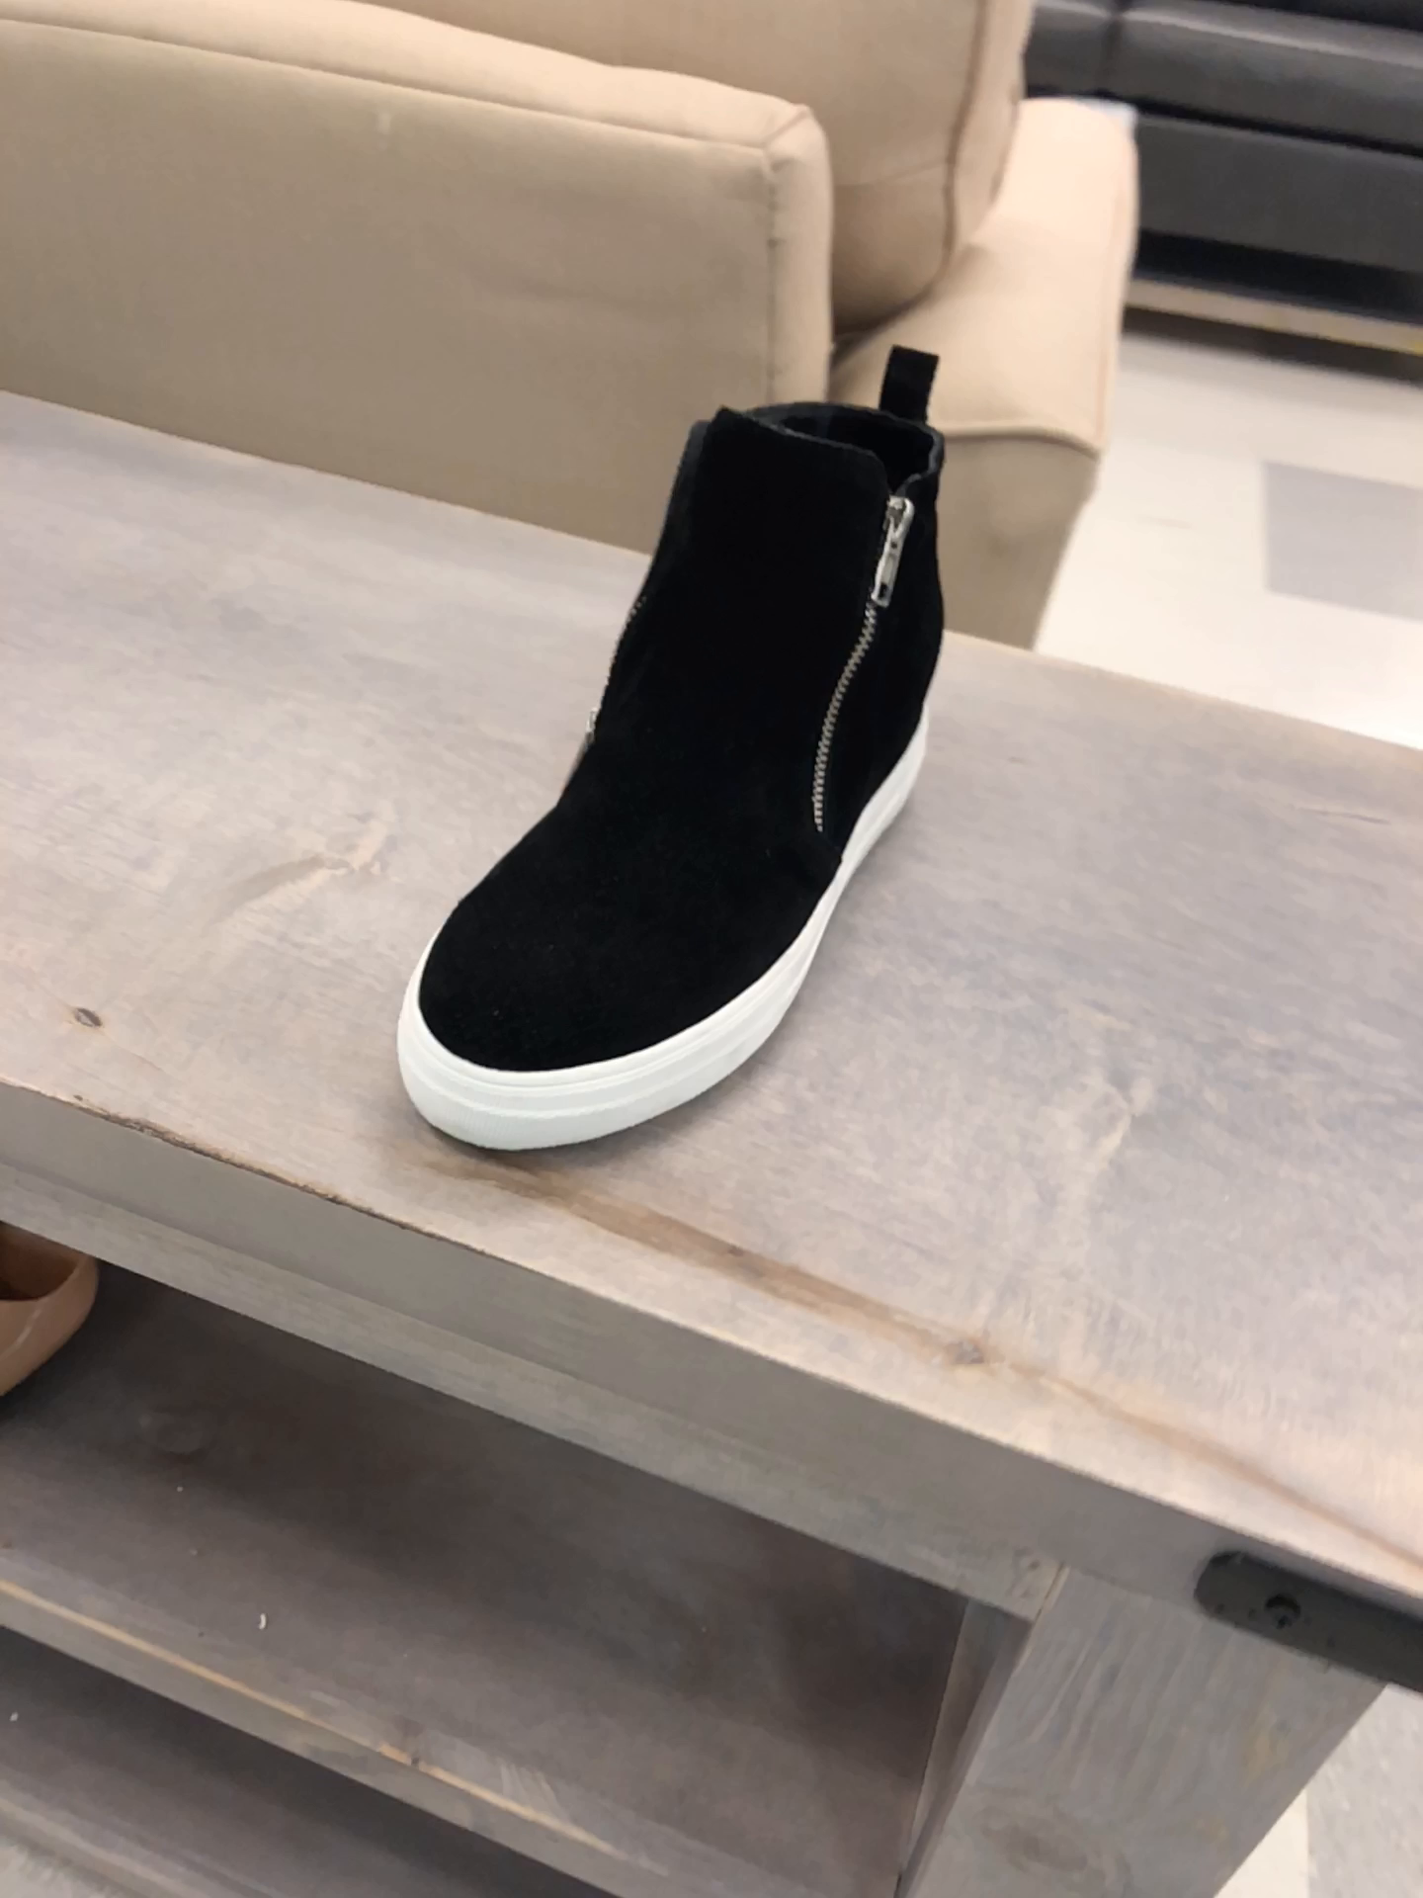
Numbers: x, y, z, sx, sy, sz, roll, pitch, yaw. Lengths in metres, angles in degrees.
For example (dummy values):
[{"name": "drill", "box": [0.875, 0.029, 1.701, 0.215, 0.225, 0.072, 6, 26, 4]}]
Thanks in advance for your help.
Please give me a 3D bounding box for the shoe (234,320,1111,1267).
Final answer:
[{"name": "shoe", "box": [0.006, -0.070, 0.479, 0.106, 0.146, 0.292, 24, 42, 20]}]
